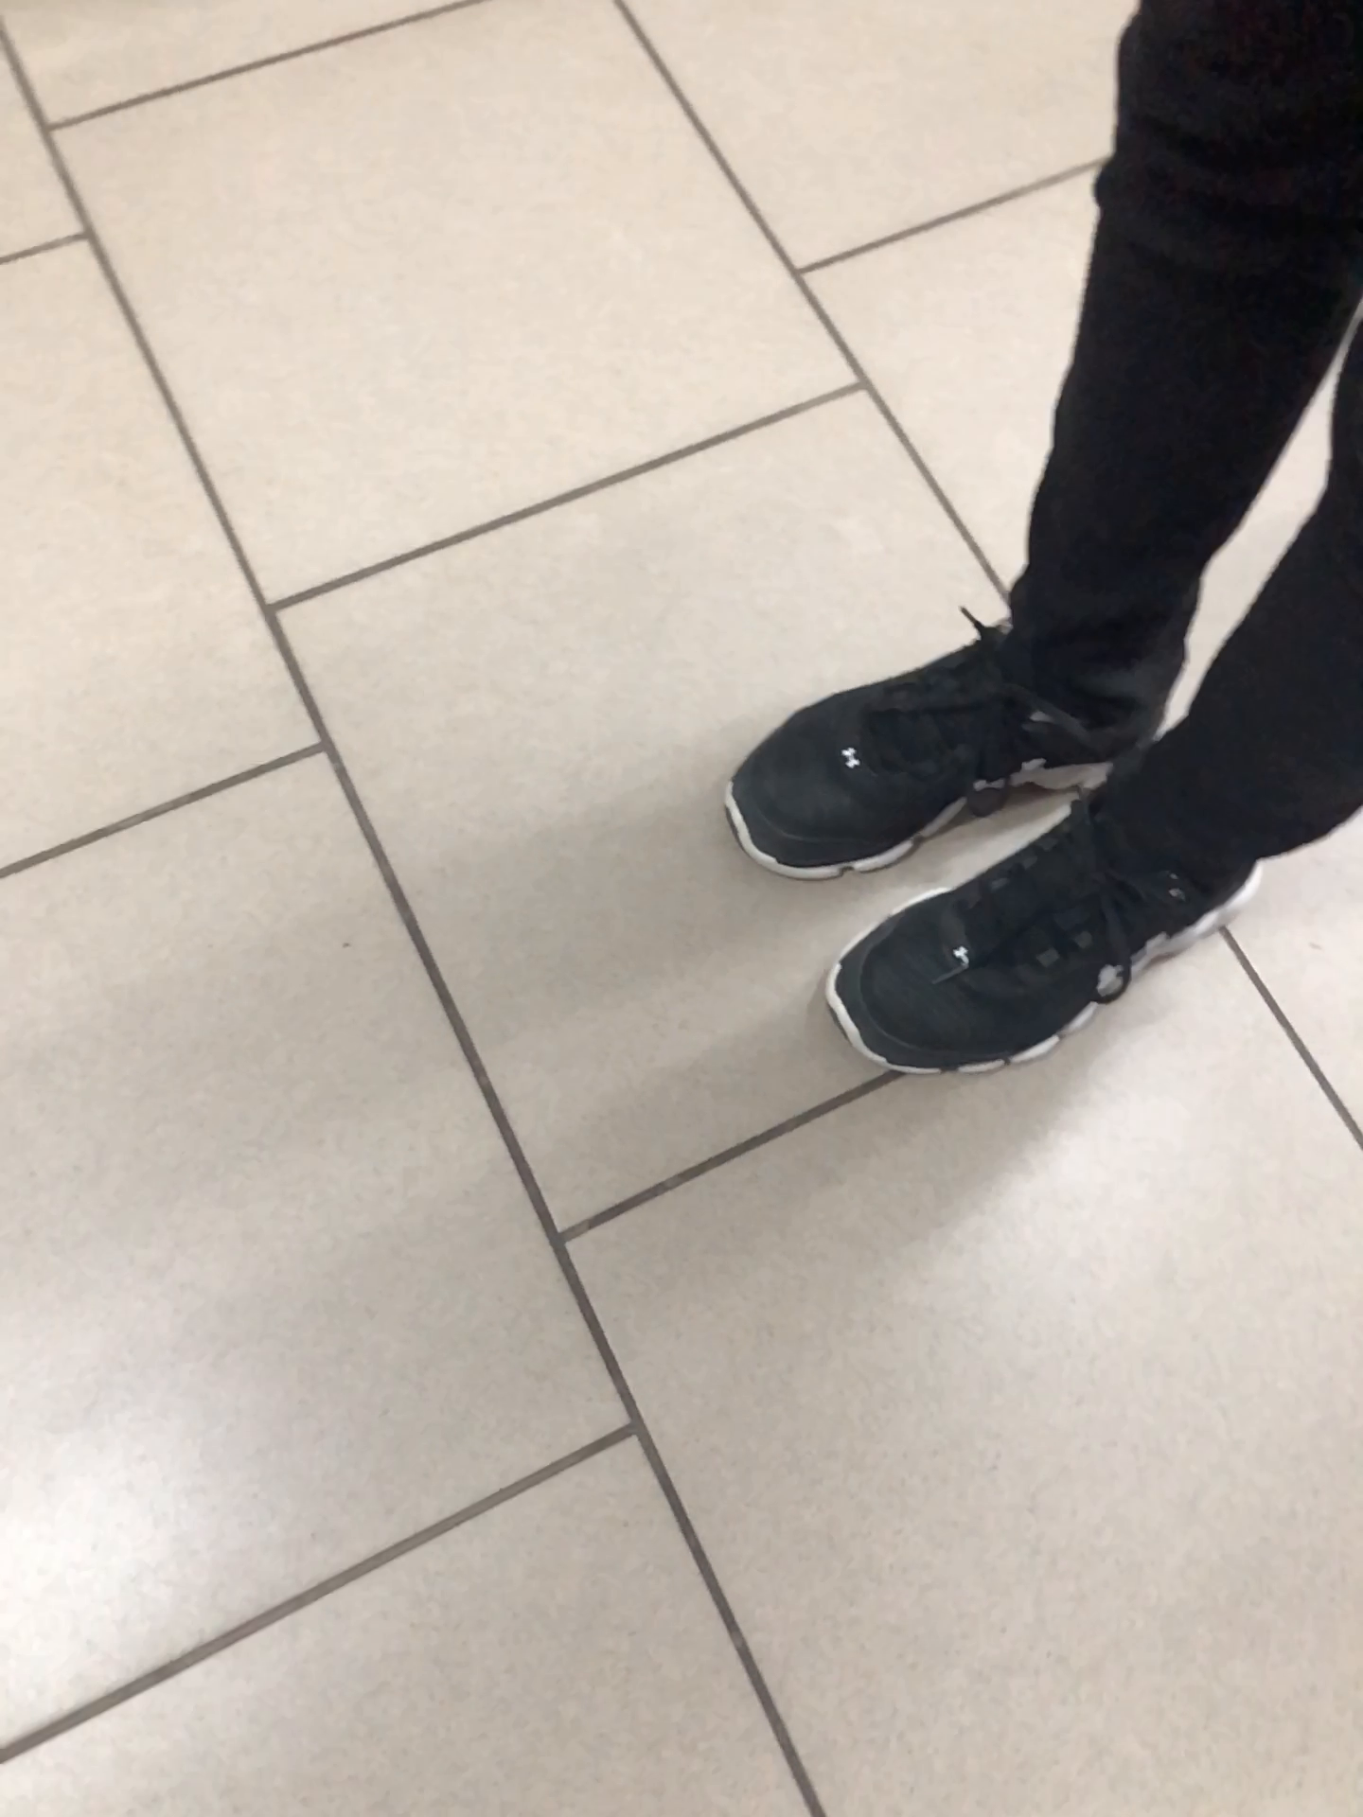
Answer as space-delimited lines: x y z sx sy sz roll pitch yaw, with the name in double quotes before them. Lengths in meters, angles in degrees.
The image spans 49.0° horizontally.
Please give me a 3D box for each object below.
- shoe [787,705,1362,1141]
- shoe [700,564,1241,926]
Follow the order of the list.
"shoe" 0.205 0.007 0.784 0.270 0.090 0.110 -23 72 -11
"shoe" 0.153 -0.090 0.831 0.260 0.090 0.110 -16 70 -9
